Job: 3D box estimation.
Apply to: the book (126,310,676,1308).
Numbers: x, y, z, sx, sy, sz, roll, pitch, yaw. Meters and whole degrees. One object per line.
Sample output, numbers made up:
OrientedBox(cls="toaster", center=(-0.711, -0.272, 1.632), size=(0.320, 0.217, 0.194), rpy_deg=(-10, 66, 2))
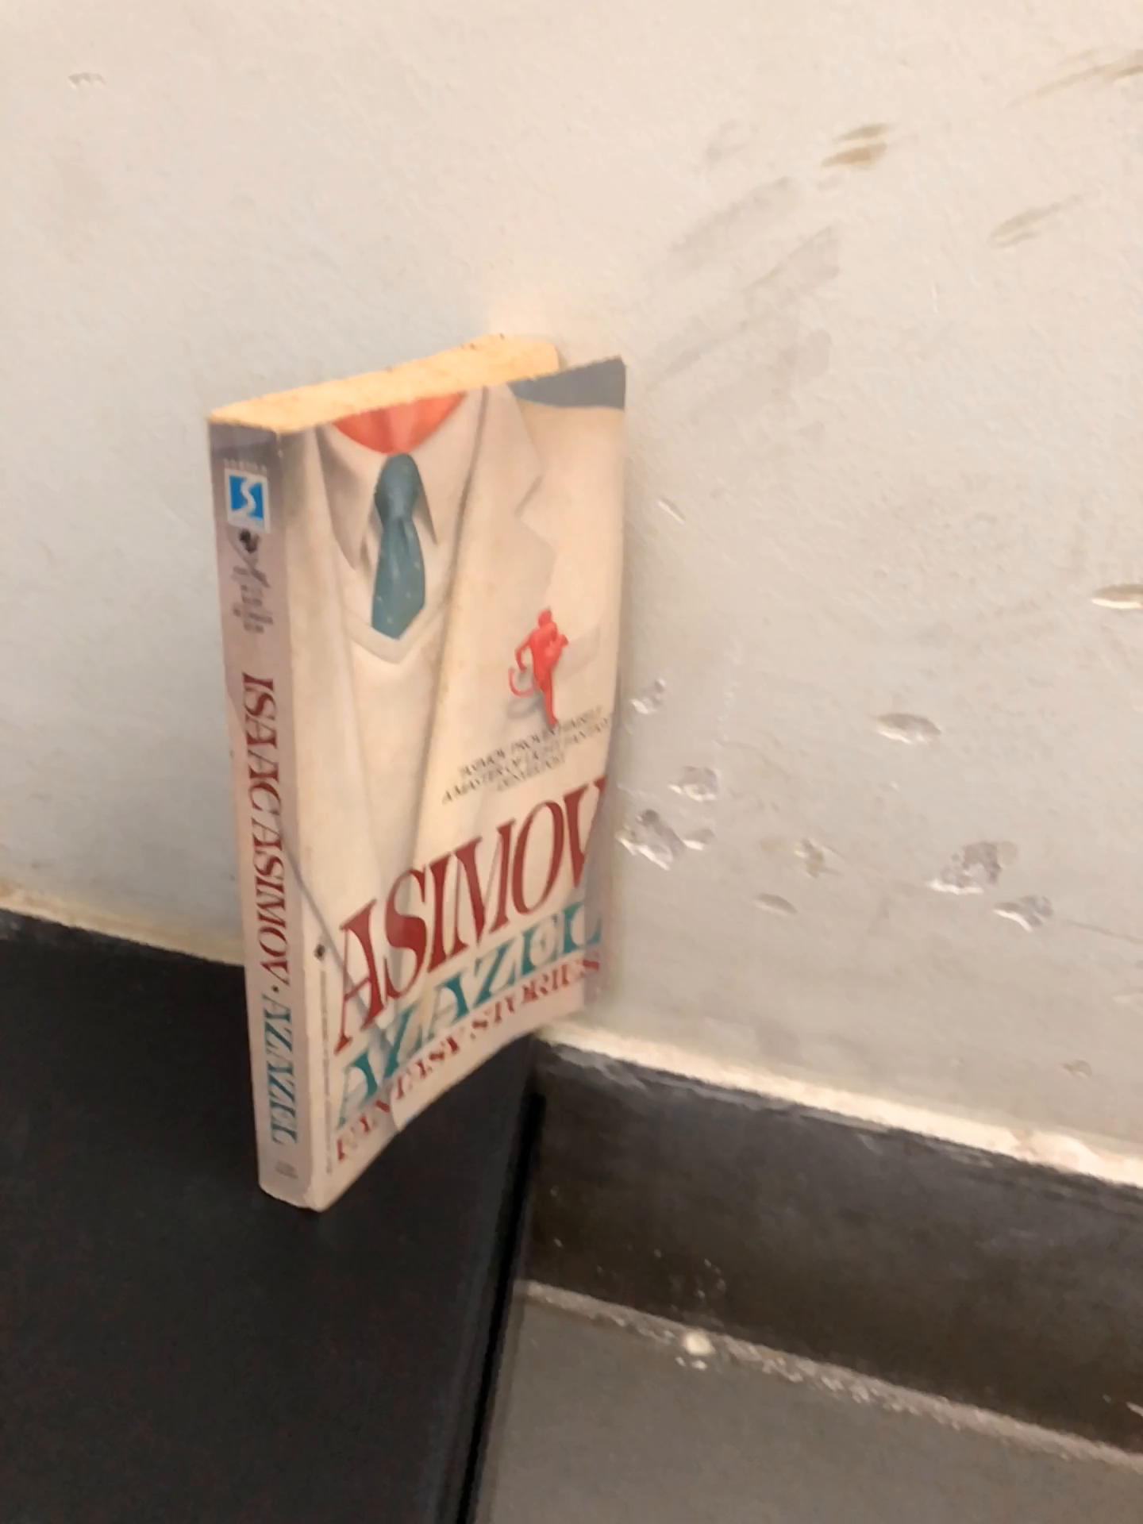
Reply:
OrientedBox(cls="book", center=(-0.024, 0.001, 0.302), size=(0.030, 0.189, 0.151), rpy_deg=(14, 29, 25))
